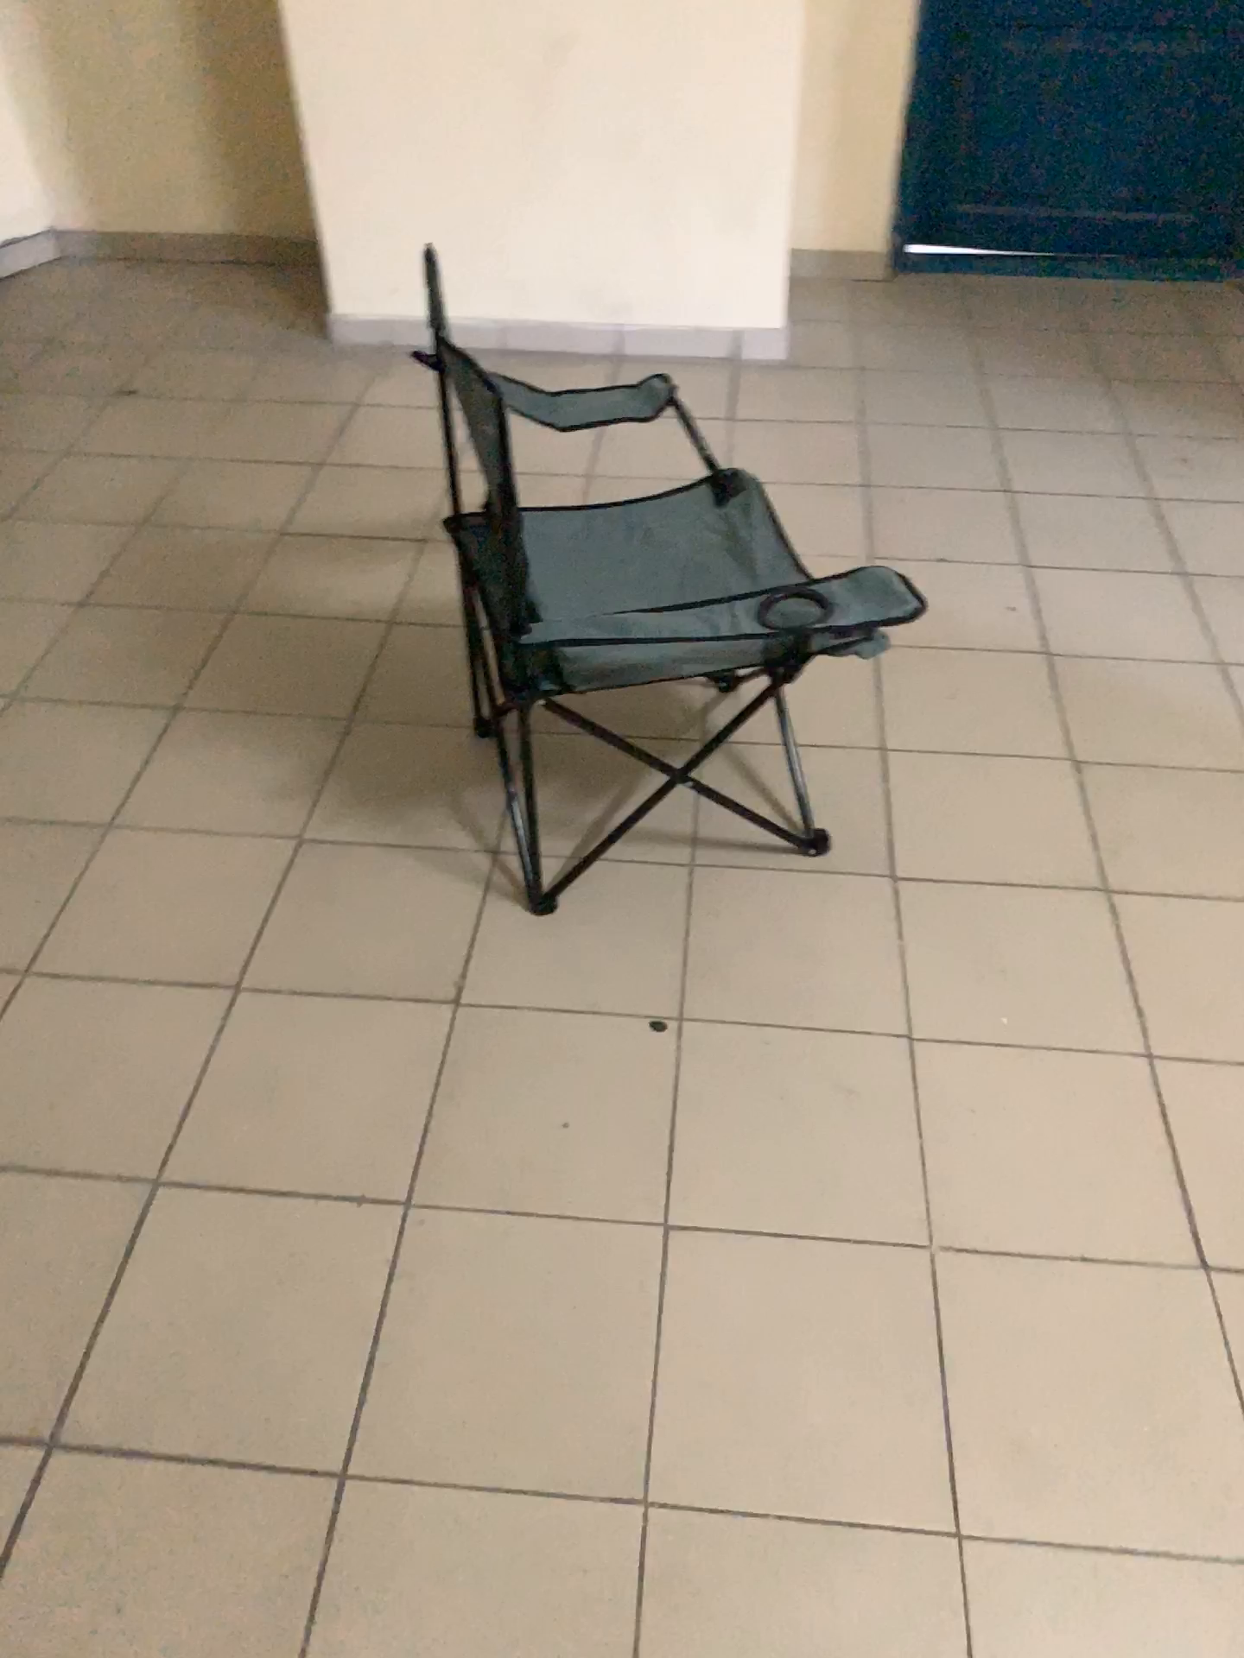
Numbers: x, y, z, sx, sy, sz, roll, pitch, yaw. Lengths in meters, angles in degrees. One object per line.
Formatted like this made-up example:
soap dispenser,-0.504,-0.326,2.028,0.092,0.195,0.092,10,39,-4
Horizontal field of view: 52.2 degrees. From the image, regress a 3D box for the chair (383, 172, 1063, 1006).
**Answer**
chair,0.063,-0.362,1.764,0.560,0.757,0.804,-12,44,-12
